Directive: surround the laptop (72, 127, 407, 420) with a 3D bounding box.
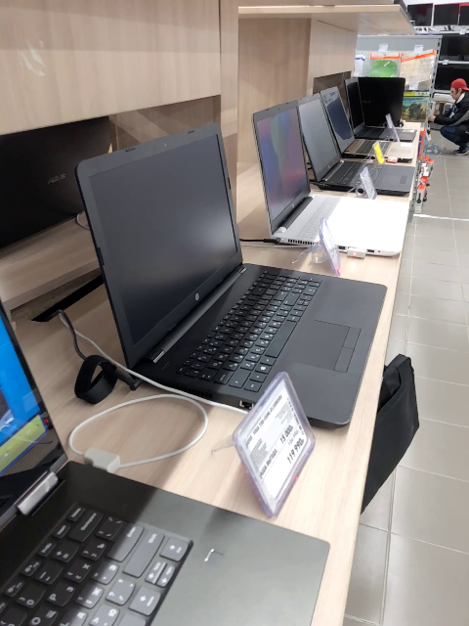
[{"bbox_3d":[0.040,-0.093,0.671,0.297,0.222,0.359,11,28,18],"label":"laptop"}]
